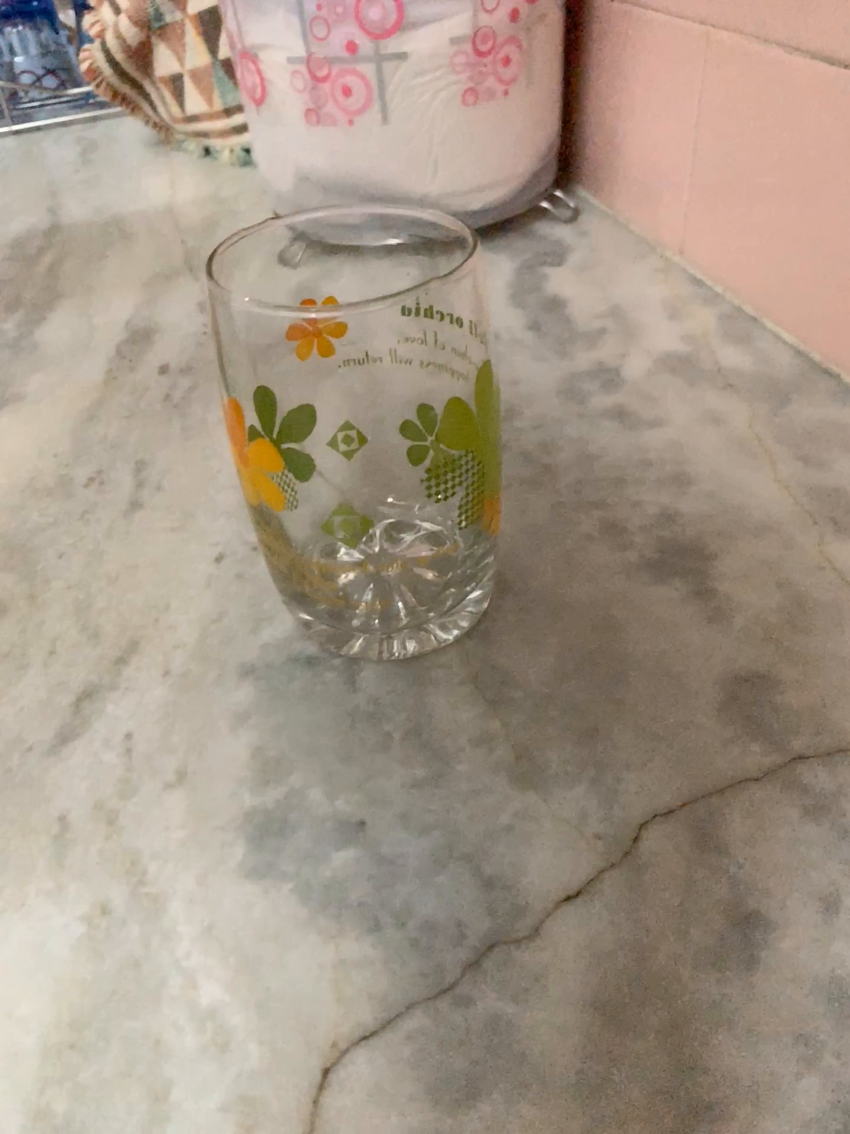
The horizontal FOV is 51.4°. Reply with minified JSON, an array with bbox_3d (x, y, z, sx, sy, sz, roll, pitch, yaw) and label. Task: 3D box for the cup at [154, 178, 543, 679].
[{"bbox_3d":[-0.008,-0.034,0.224,0.070,0.100,0.070,-4,39,3],"label":"cup"}]
